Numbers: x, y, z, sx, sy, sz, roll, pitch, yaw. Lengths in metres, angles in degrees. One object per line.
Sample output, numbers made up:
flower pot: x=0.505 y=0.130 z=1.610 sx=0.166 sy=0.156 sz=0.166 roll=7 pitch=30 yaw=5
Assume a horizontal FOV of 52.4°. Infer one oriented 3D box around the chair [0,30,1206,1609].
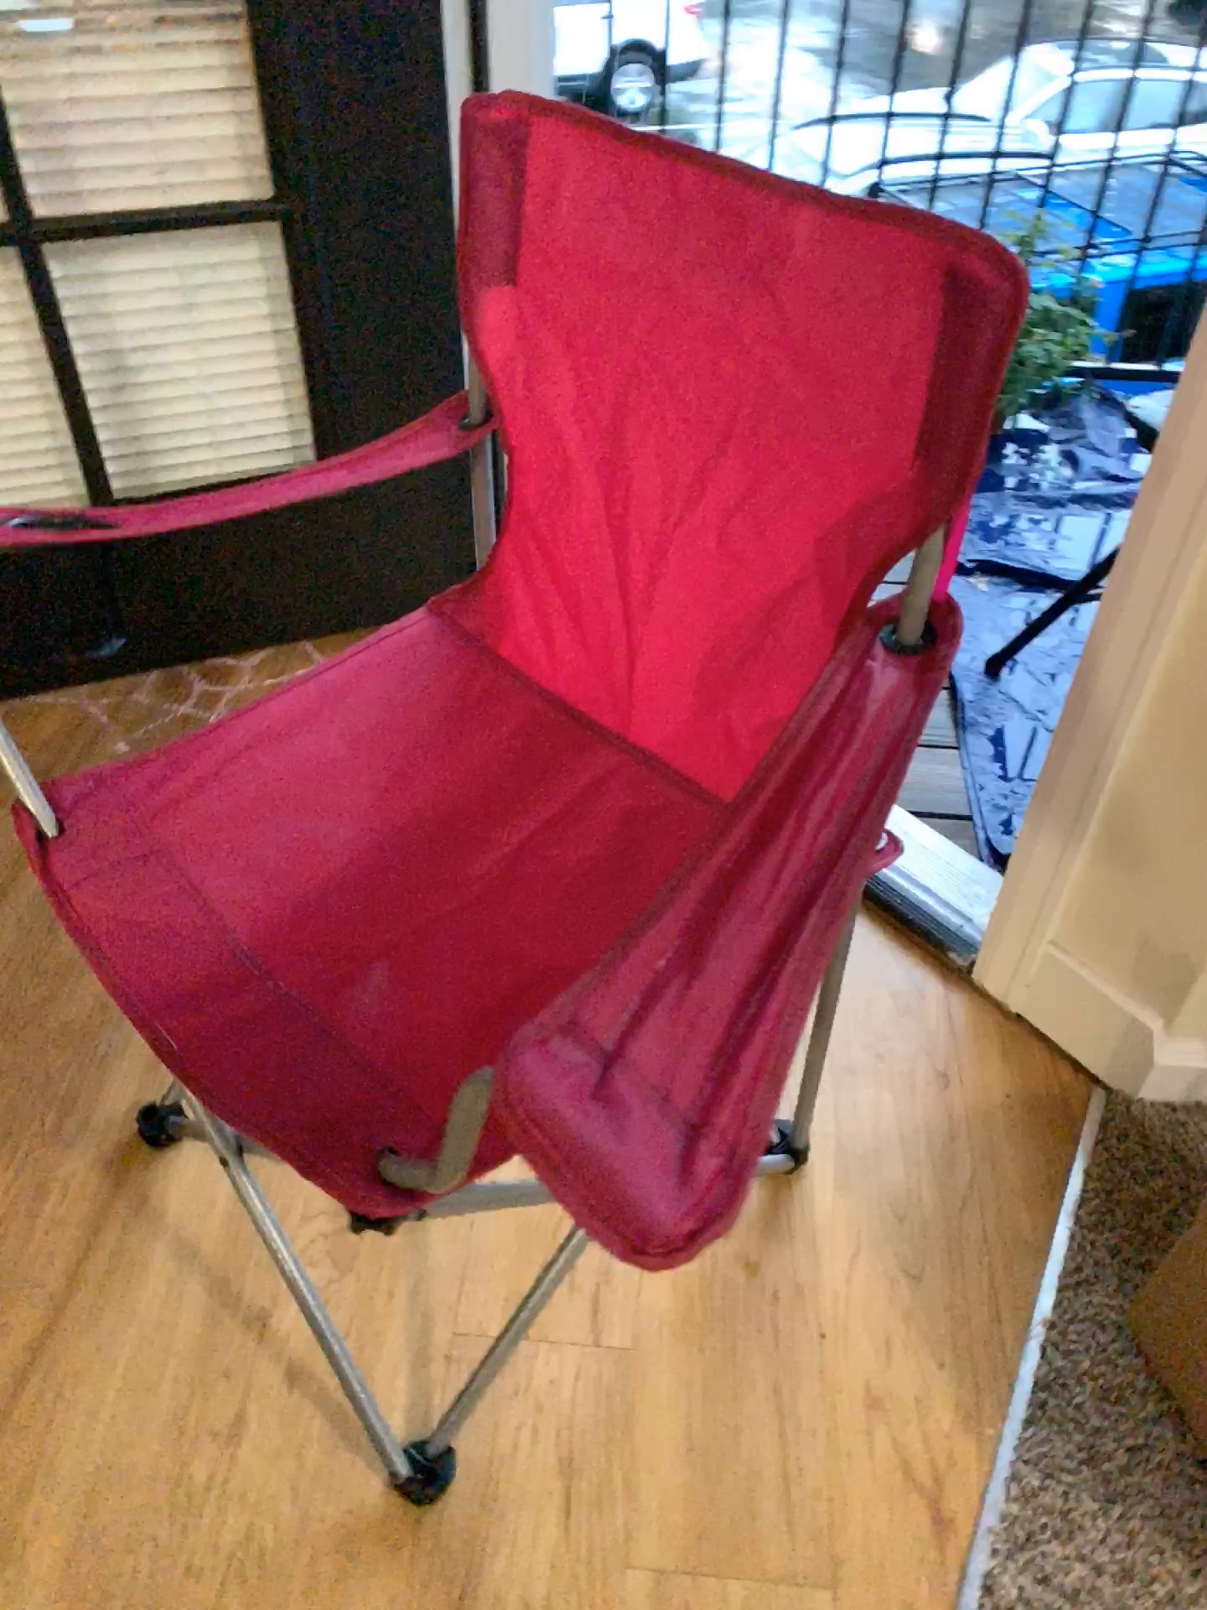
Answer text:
chair: x=-0.066 y=-0.016 z=0.882 sx=0.671 sy=0.776 sz=0.652 roll=-28 pitch=50 yaw=-30
